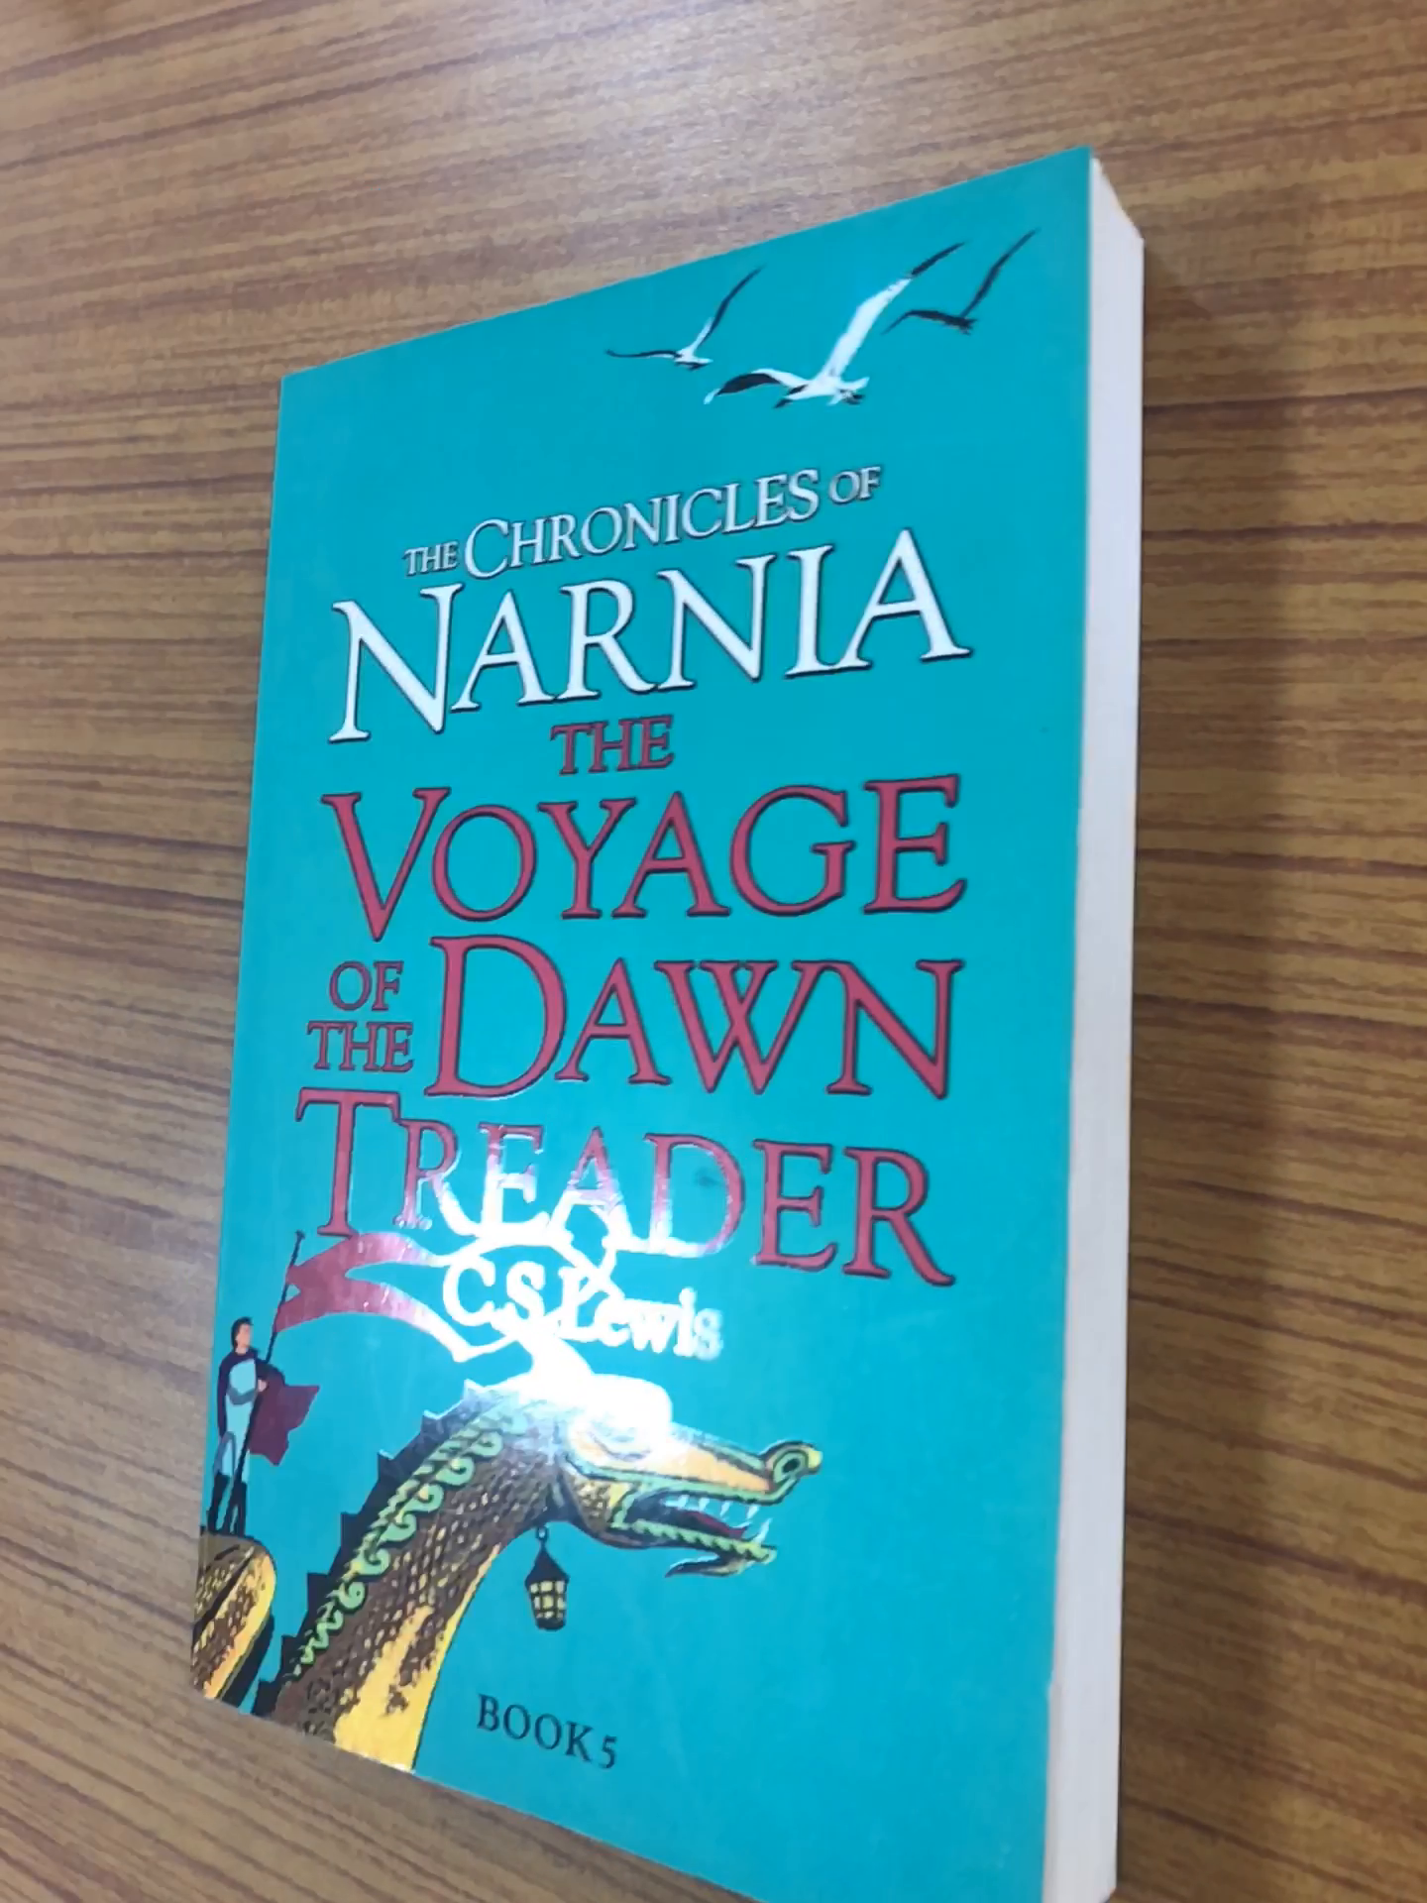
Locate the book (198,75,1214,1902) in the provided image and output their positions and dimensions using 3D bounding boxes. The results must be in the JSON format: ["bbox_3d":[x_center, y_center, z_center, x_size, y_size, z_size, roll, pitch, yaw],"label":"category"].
[{"bbox_3d":[-0.005,0.006,0.213,0.130,0.030,0.200,-1,84,32],"label":"book"}]
